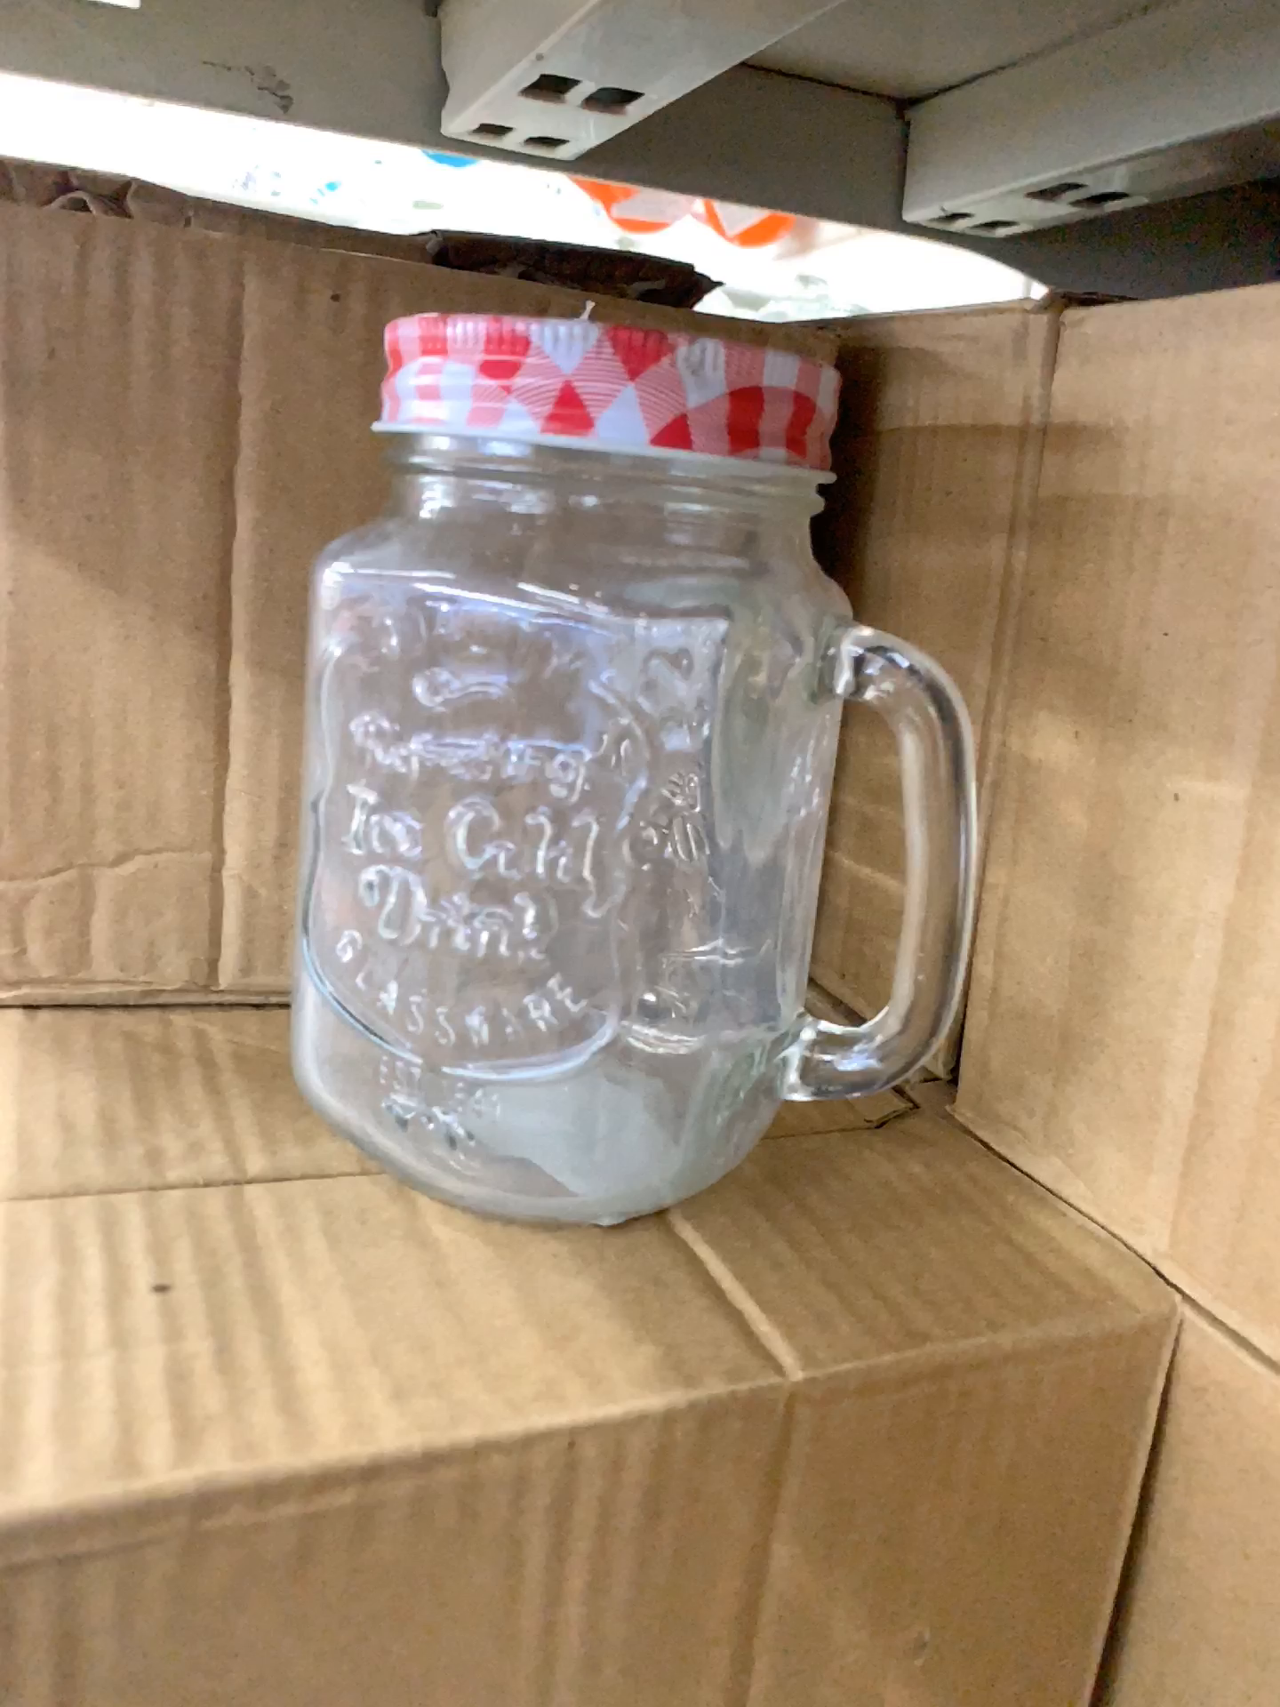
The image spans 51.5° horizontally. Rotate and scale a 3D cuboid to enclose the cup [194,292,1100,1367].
[{"bbox_3d":[0.001,-0.013,0.204,0.100,0.120,0.080,12,12,29],"label":"cup"}]
